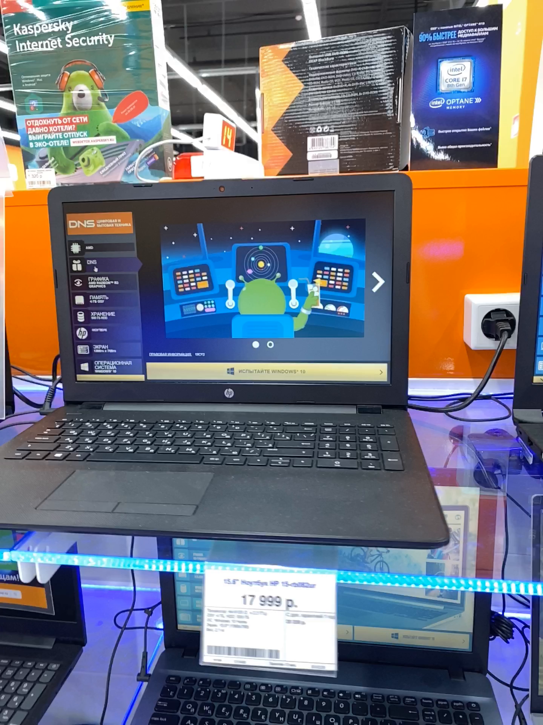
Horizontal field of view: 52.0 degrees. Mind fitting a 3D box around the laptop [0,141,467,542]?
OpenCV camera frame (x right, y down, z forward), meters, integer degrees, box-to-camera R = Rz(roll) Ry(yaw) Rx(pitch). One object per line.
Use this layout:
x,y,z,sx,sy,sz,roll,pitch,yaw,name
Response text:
-0.061,-0.038,0.467,0.369,0.231,0.272,0,14,7,laptop
